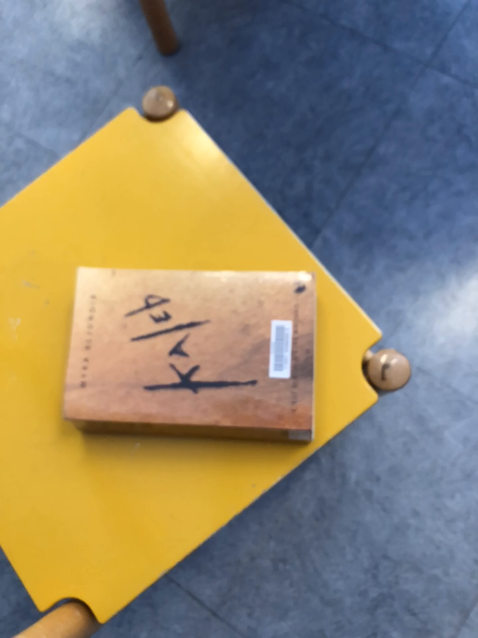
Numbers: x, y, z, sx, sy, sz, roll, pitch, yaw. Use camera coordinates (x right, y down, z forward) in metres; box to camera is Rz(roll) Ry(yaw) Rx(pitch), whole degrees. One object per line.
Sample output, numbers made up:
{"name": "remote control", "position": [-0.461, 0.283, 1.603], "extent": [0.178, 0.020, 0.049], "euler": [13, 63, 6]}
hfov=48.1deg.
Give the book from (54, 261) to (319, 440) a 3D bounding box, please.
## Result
{"name": "book", "position": [-0.043, 0.026, 0.482], "extent": [0.223, 0.043, 0.149], "euler": [1, 78, 8]}
